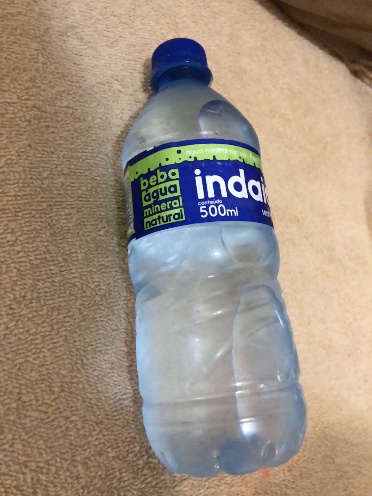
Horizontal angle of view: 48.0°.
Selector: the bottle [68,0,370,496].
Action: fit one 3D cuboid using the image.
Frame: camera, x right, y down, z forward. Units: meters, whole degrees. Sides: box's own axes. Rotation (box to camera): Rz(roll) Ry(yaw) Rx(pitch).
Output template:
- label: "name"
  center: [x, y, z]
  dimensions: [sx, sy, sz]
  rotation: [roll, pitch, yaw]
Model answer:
- label: "bottle"
  center: [0.007, -0.010, 0.180]
  dimensions: [0.080, 0.050, 0.210]
  rotation: [2, 71, -39]
